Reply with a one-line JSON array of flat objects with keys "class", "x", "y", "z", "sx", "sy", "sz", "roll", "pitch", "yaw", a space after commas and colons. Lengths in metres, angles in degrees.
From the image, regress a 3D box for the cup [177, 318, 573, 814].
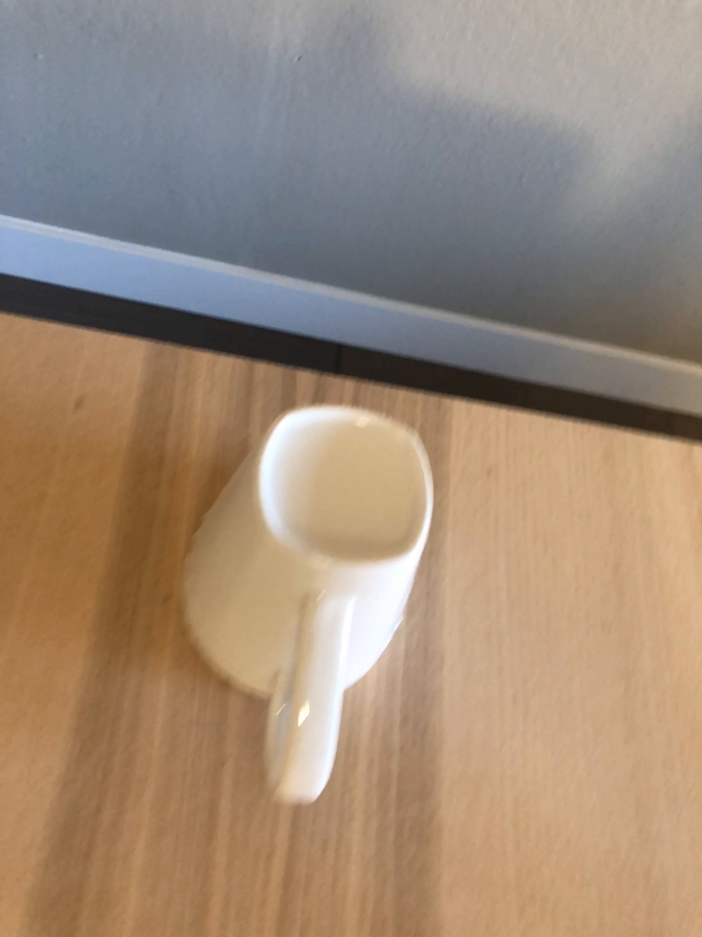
[{"class": "cup", "x": -0.004, "y": 0.045, "z": 0.283, "sx": 0.100, "sy": 0.120, "sz": 0.140, "roll": 5, "pitch": 62, "yaw": -13}]
